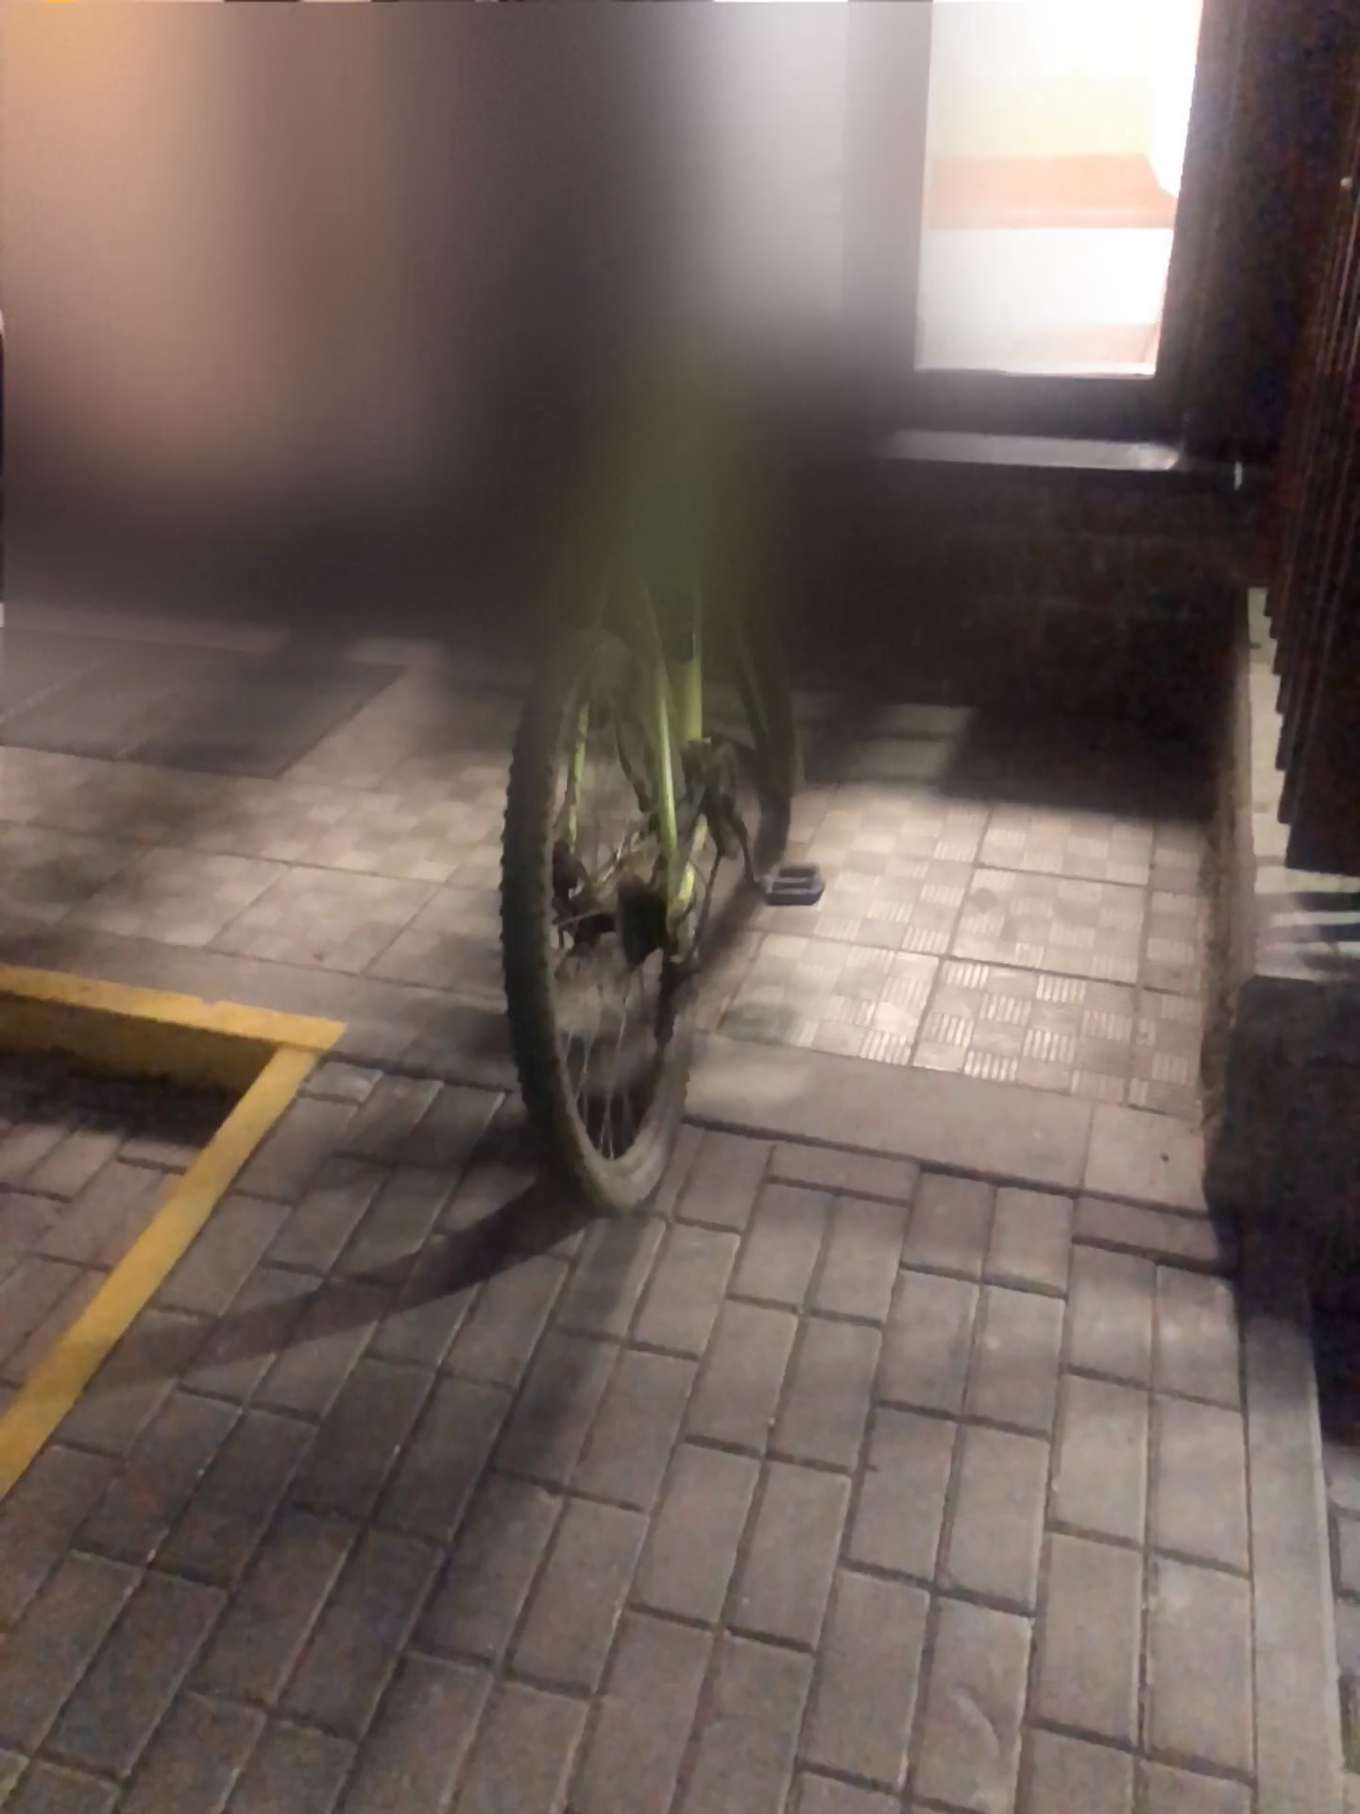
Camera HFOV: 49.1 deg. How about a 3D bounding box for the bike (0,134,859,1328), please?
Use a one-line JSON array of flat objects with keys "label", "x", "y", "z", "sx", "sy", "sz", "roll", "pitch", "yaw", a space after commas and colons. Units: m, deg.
[{"label": "bike", "x": -0.120, "y": -0.473, "z": 2.245, "sx": 0.720, "sy": 1.095, "sz": 1.768, "roll": 2, "pitch": 31, "yaw": 7}]
